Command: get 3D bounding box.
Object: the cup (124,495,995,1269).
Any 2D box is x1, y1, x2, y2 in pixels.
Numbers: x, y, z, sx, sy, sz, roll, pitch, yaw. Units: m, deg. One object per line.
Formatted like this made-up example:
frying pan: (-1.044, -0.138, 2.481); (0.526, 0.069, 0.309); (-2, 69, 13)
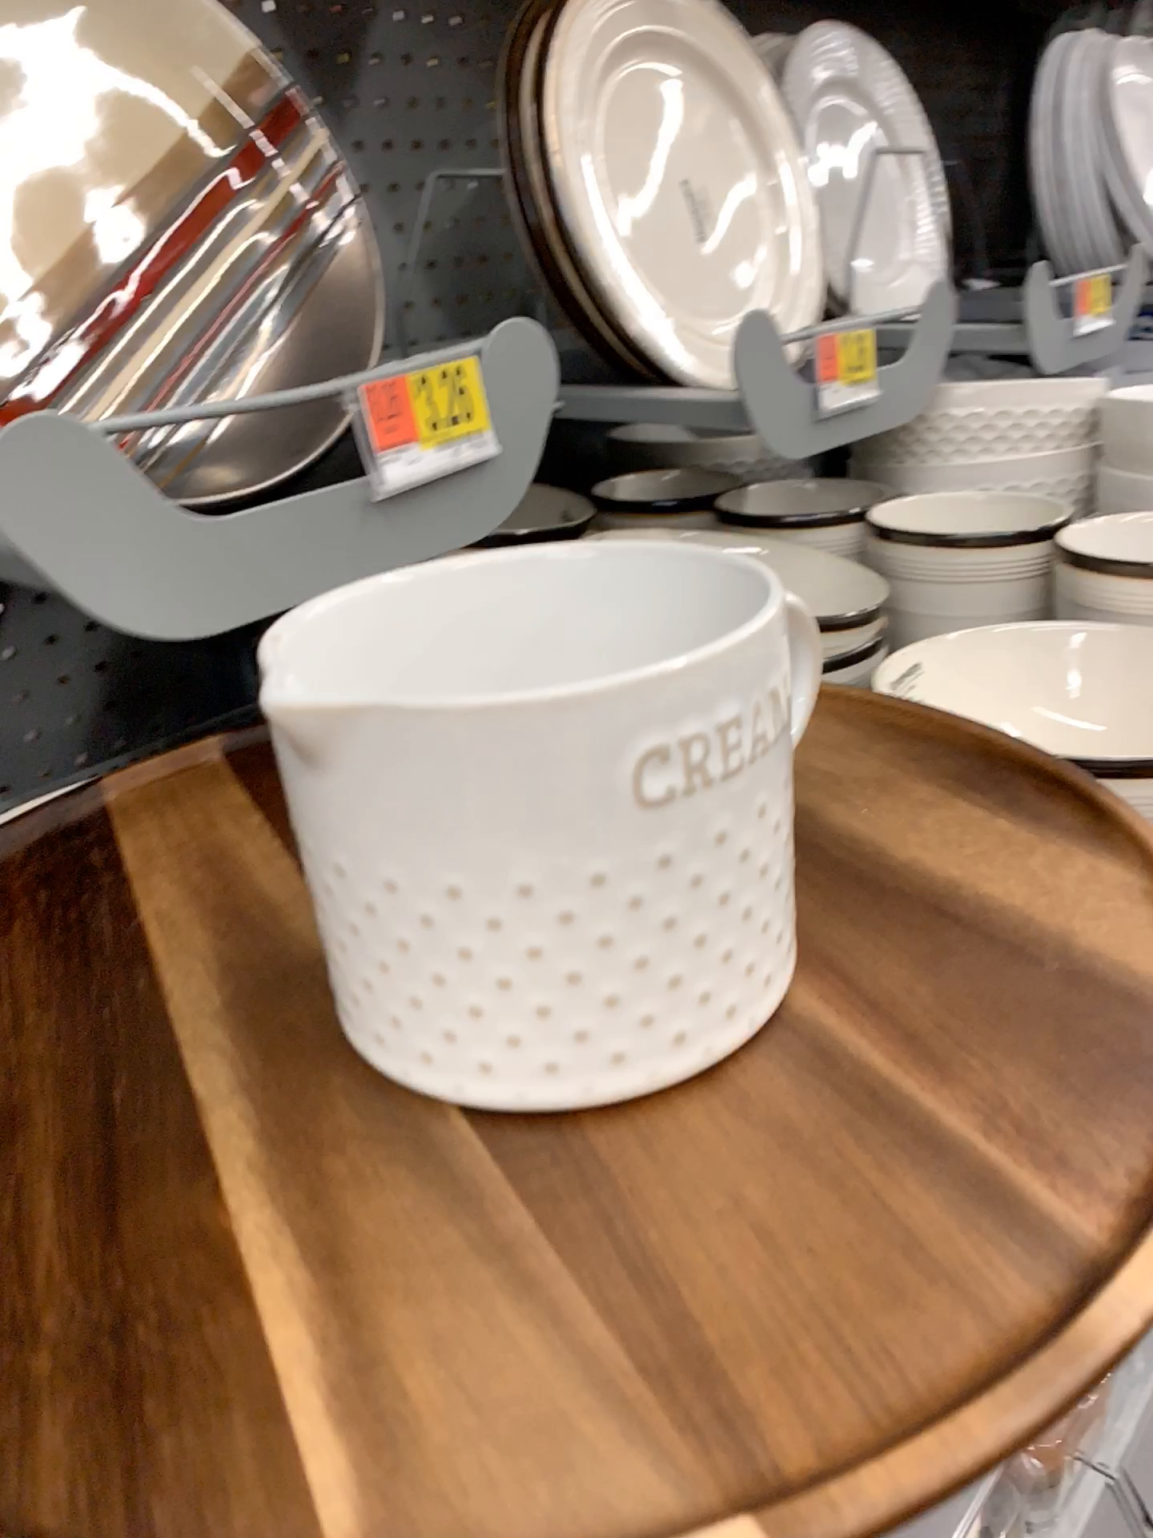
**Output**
cup: (0.004, 0.005, 0.260); (0.150, 0.090, 0.100); (-25, 31, -37)
